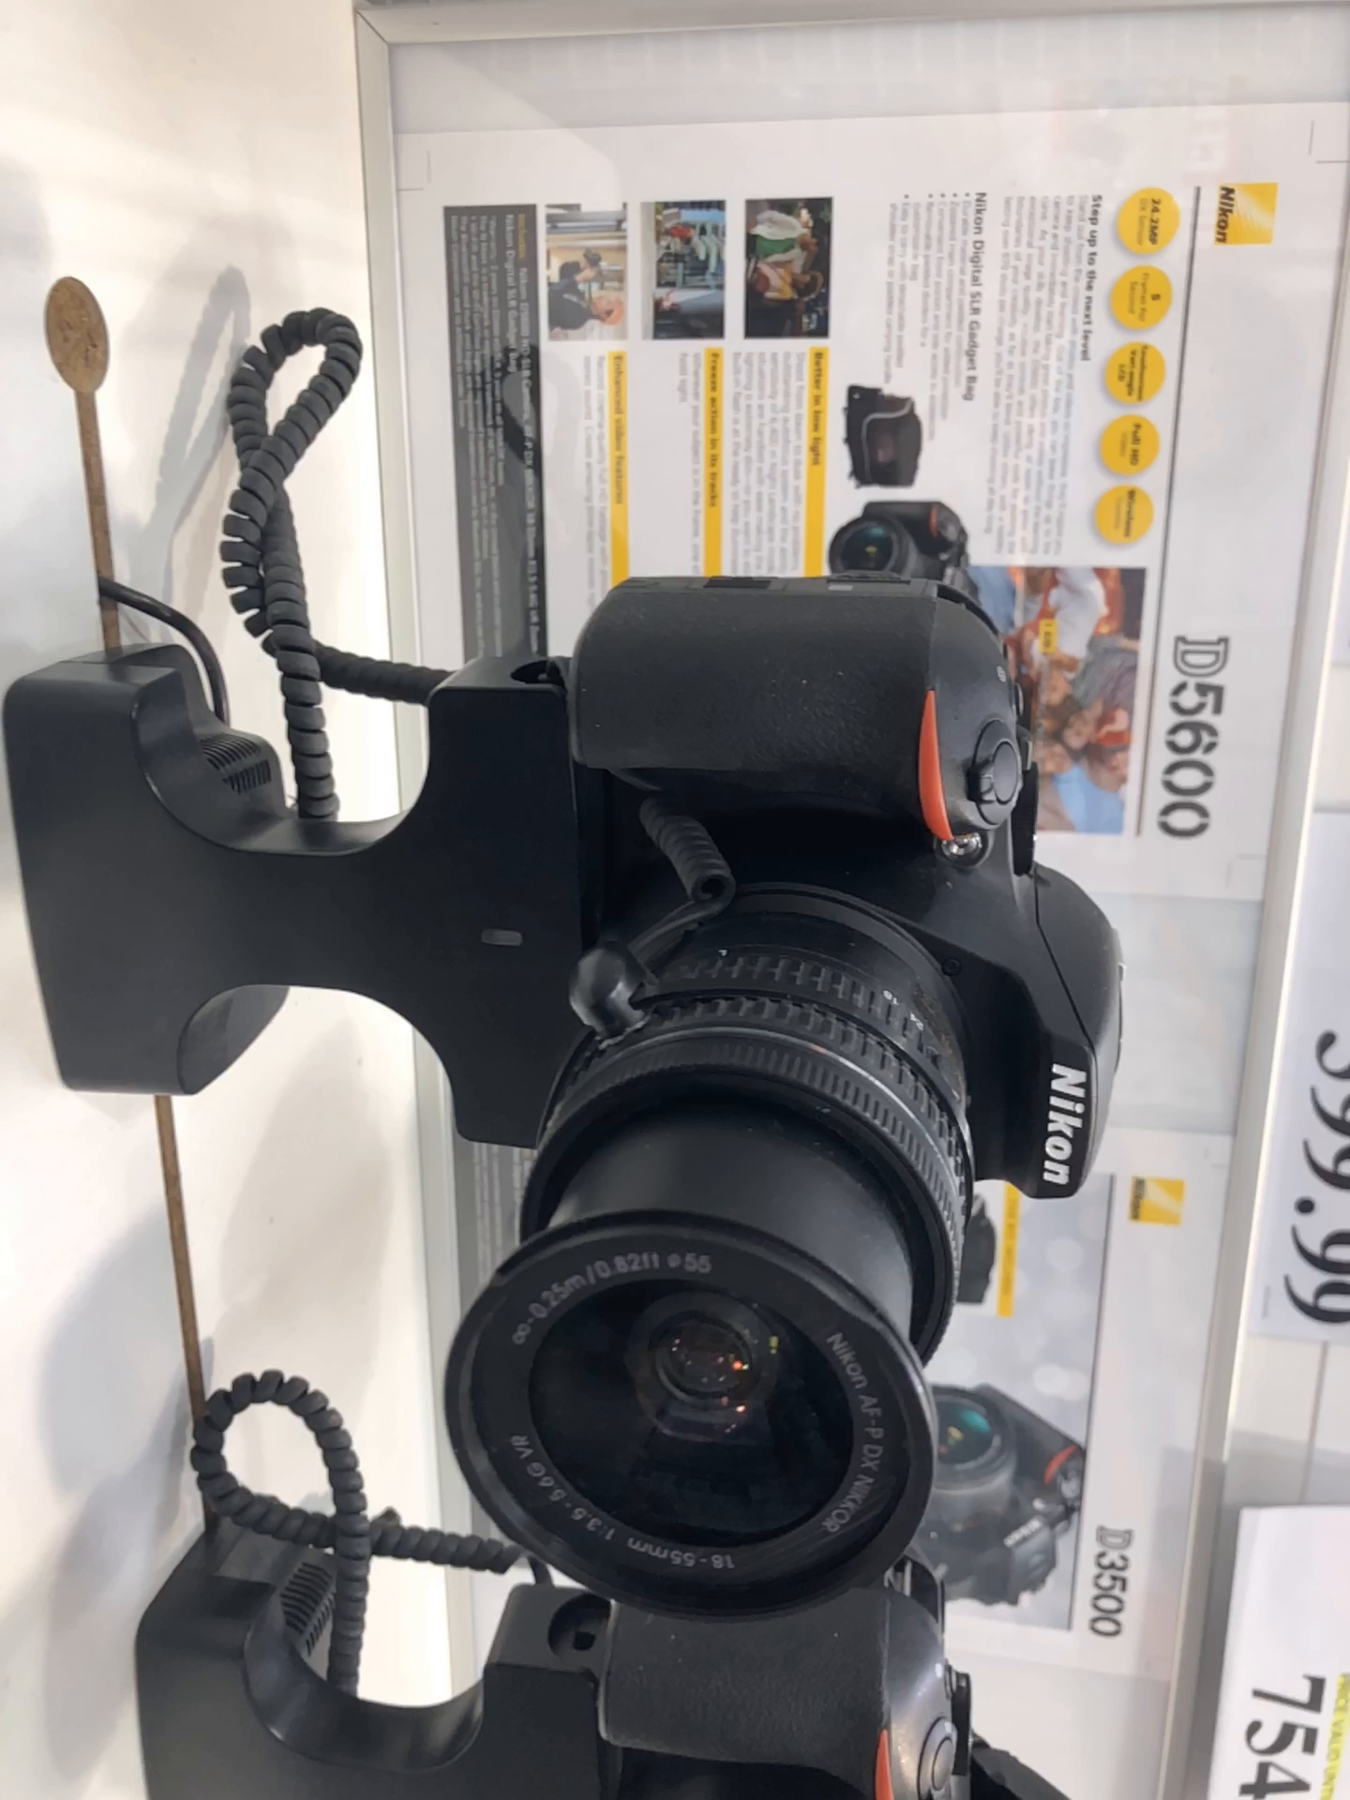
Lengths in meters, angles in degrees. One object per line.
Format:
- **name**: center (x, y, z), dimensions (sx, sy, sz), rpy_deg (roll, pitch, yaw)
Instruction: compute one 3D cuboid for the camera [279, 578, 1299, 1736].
- **camera**: center (0.026, 0.022, 0.257), dimensions (0.160, 0.110, 0.120), rpy_deg (-65, 156, -64)
